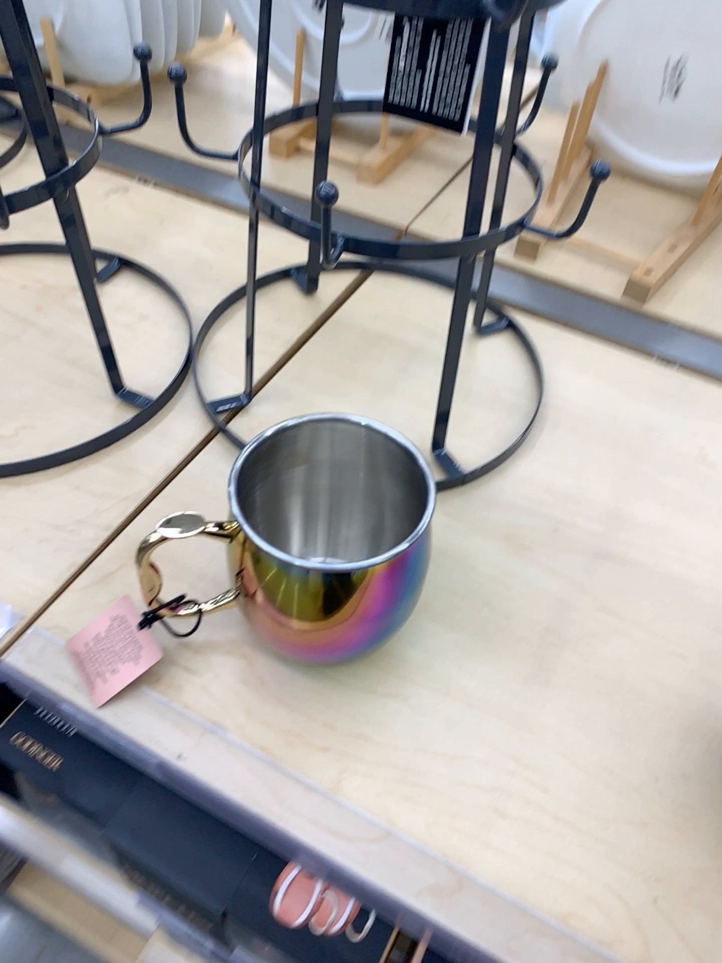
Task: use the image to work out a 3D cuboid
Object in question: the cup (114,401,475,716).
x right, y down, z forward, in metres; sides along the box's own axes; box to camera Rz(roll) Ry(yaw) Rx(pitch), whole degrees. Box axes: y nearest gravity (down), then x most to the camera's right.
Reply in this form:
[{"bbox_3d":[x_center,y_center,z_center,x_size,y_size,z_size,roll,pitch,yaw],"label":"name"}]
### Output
[{"bbox_3d":[-0.033,0.033,0.329,0.130,0.089,0.085,-8,51,-11],"label":"cup"}]
